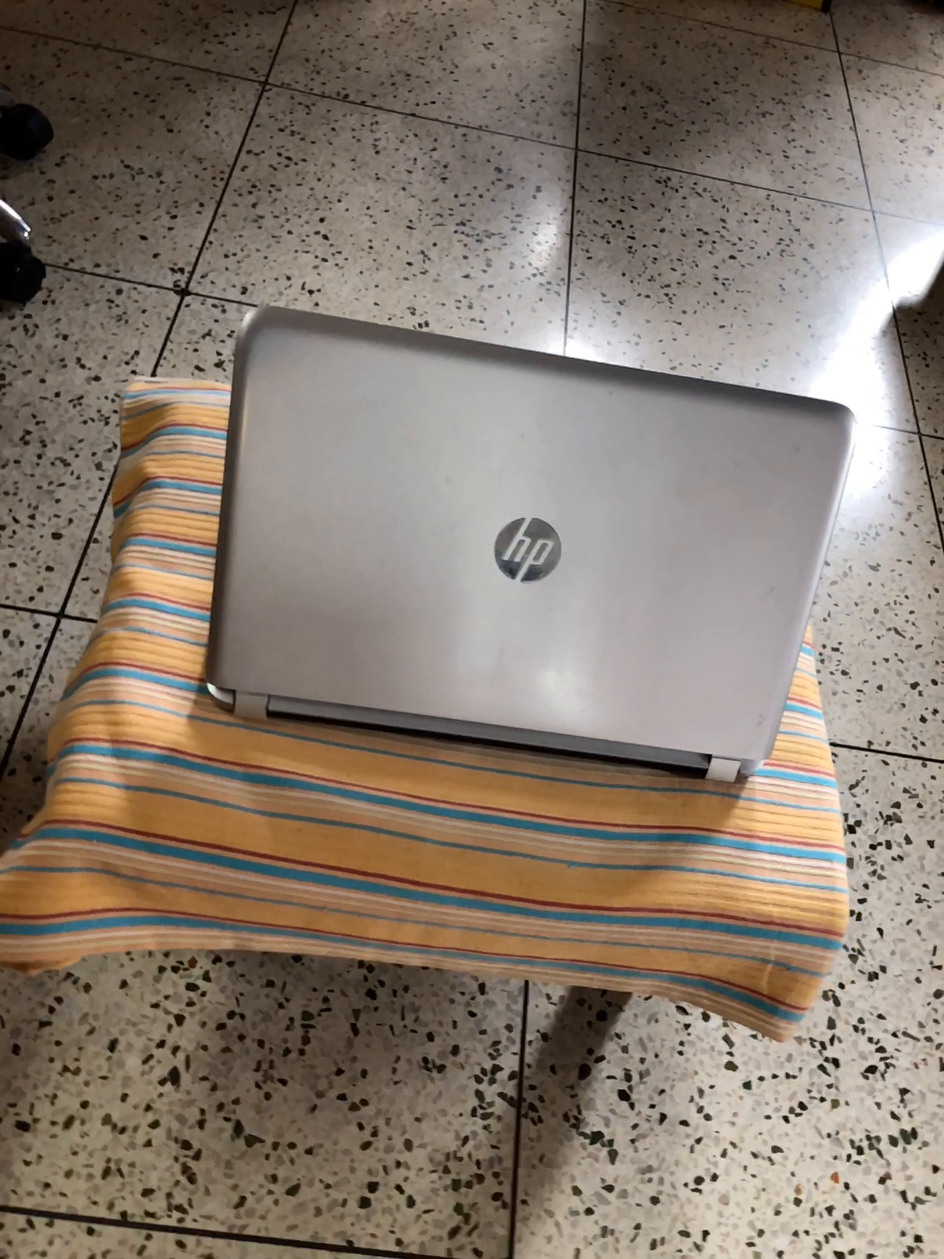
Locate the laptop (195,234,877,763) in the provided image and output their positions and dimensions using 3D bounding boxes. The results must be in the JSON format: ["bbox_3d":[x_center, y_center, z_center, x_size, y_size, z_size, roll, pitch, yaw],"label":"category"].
[{"bbox_3d":[0.033,-0.081,0.696,0.371,0.184,0.237,8,55,-5],"label":"laptop"}]
